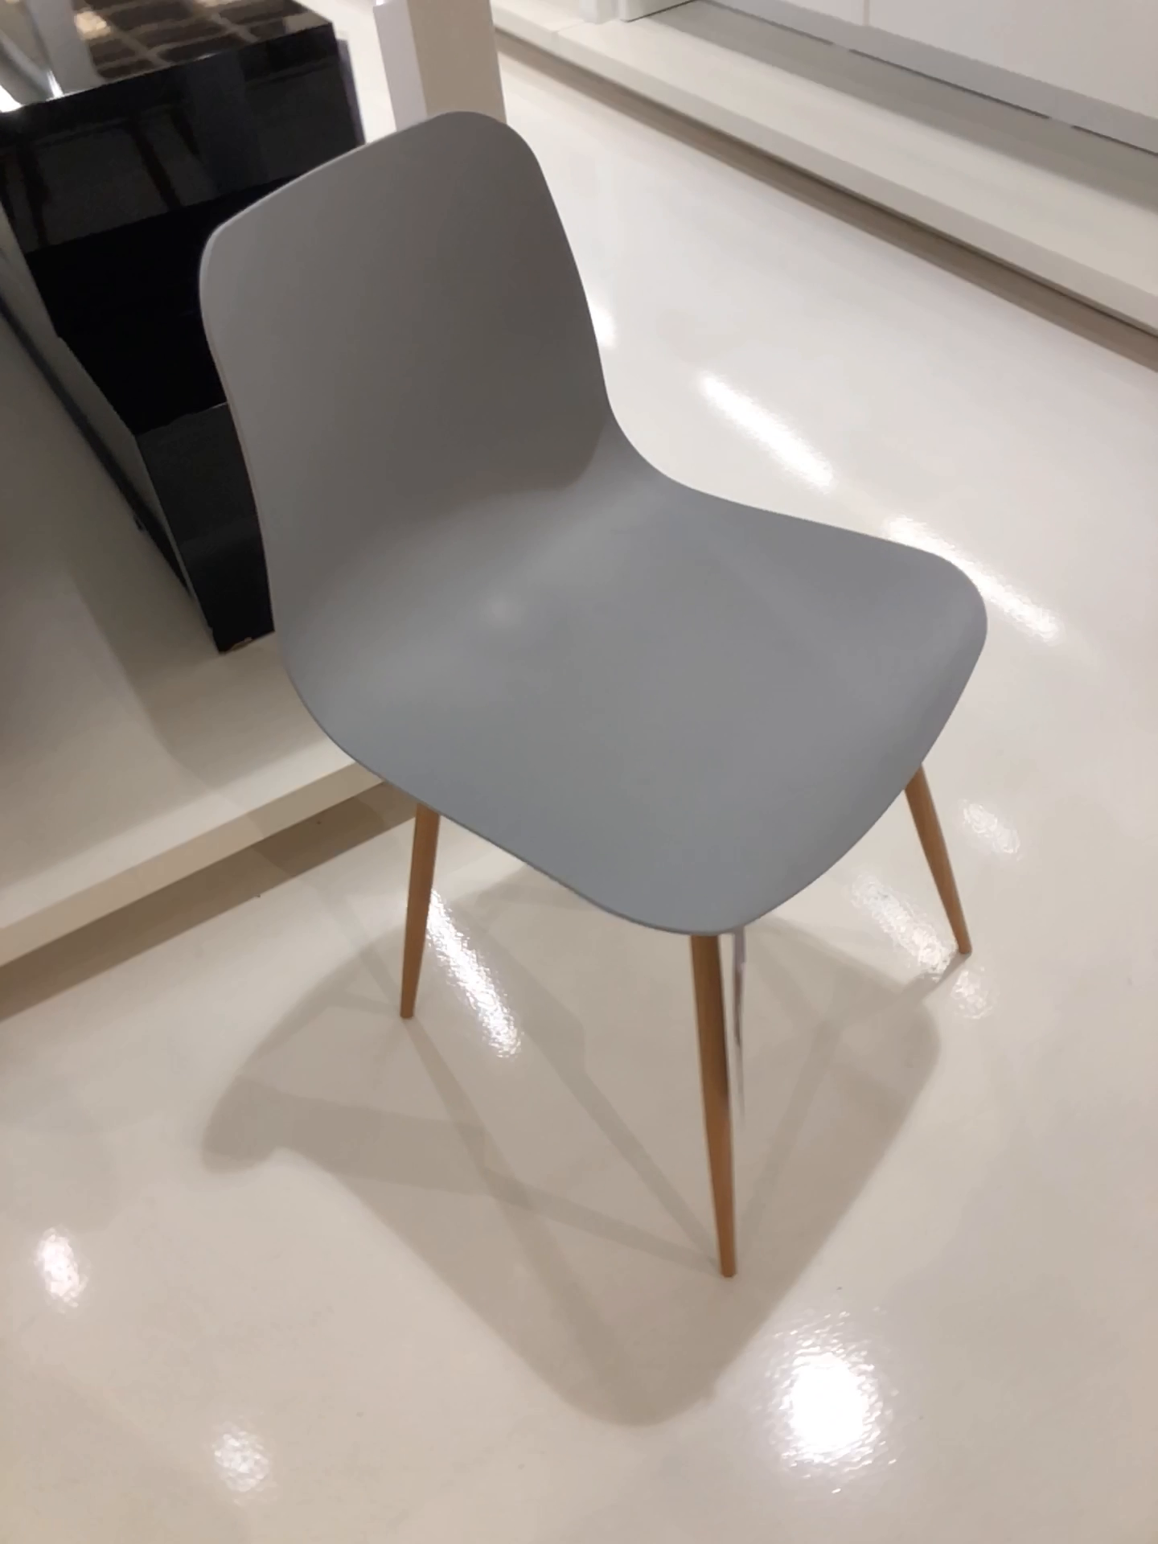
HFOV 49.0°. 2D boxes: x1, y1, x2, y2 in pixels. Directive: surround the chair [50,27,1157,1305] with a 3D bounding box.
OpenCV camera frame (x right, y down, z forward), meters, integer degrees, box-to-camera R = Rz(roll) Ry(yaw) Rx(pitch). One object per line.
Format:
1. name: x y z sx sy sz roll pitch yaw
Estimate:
1. chair: 0.057 -0.057 1.041 0.471 0.814 0.472 28 56 30
